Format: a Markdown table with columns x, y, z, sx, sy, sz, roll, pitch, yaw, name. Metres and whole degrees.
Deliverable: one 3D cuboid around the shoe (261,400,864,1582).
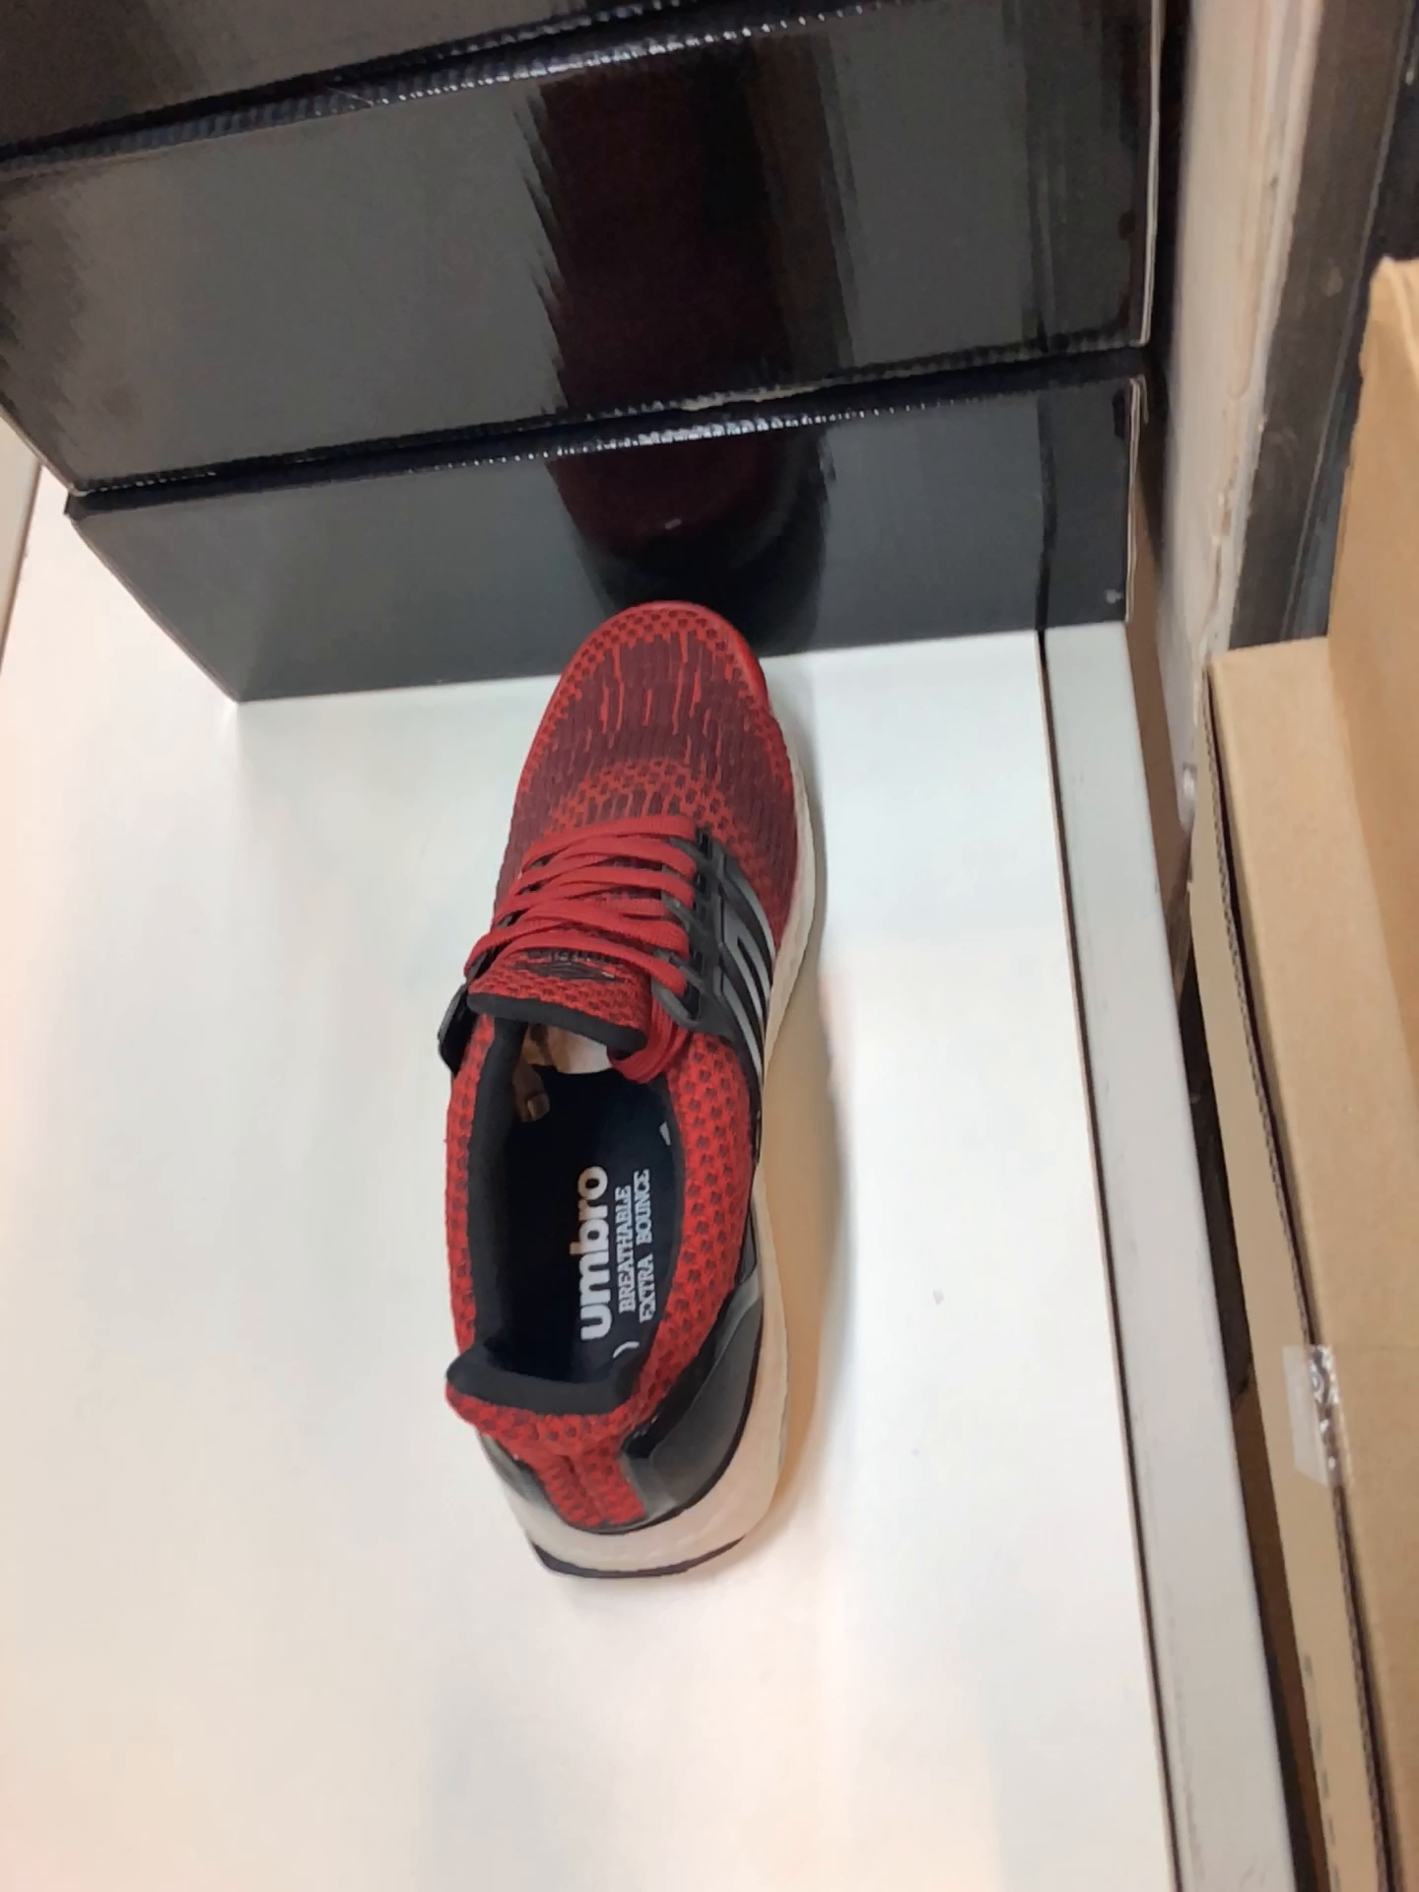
| x | y | z | sx | sy | sz | roll | pitch | yaw | name |
| --- | --- | --- | --- | --- | --- | --- | --- | --- | --- |
| -0.027 | 0.014 | 0.416 | 0.111 | 0.108 | 0.286 | -5 | 67 | 12 | shoe |
